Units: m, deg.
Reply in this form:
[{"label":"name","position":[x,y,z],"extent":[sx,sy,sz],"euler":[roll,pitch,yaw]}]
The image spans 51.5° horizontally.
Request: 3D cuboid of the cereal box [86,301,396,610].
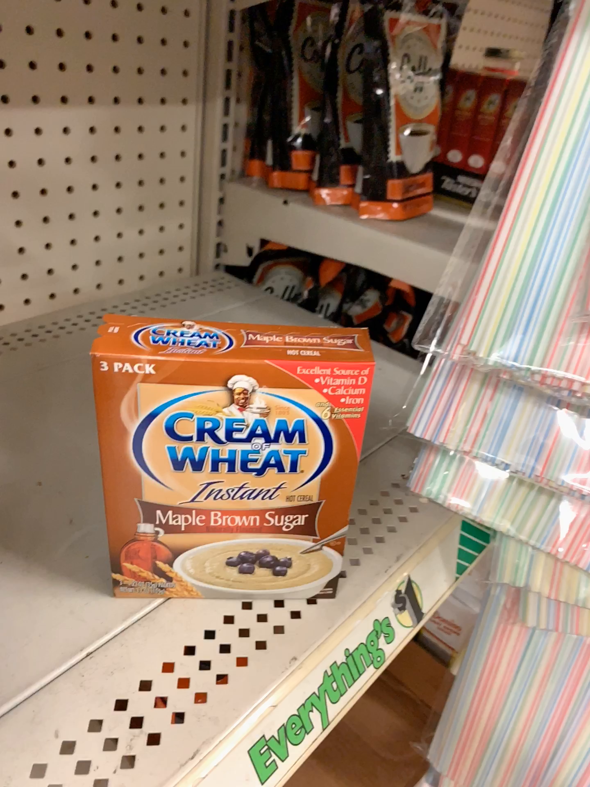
[{"label":"cereal box","position":[-0.029,0.037,0.293],"extent":[0.120,0.149,0.040],"euler":[3,31,-8]}]
